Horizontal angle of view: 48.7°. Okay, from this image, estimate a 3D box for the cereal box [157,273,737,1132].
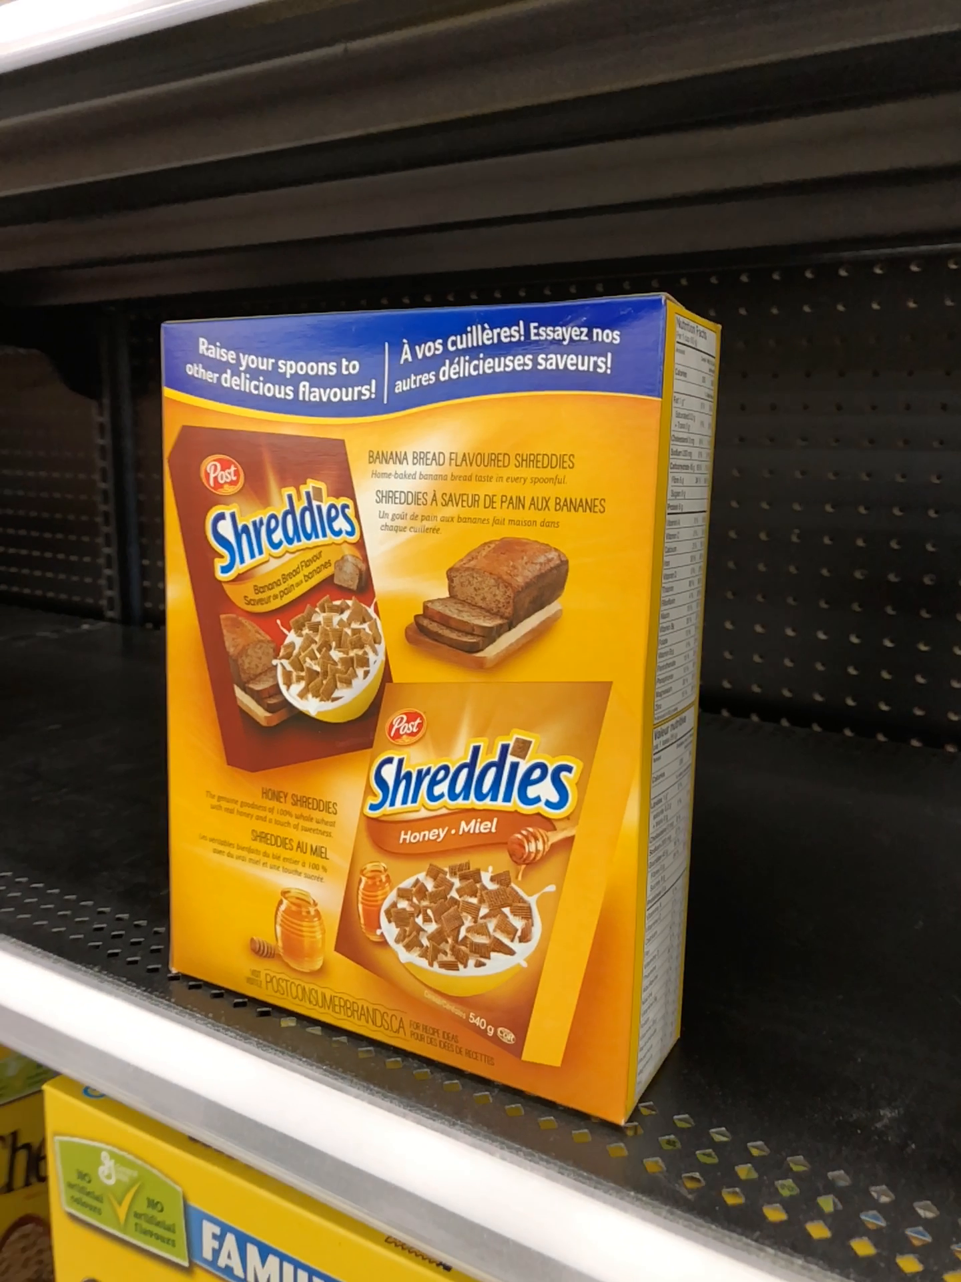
[{"bbox_3d":[-0.023,0.012,0.404,0.210,0.269,0.060,6,9,29],"label":"cereal box"}]
